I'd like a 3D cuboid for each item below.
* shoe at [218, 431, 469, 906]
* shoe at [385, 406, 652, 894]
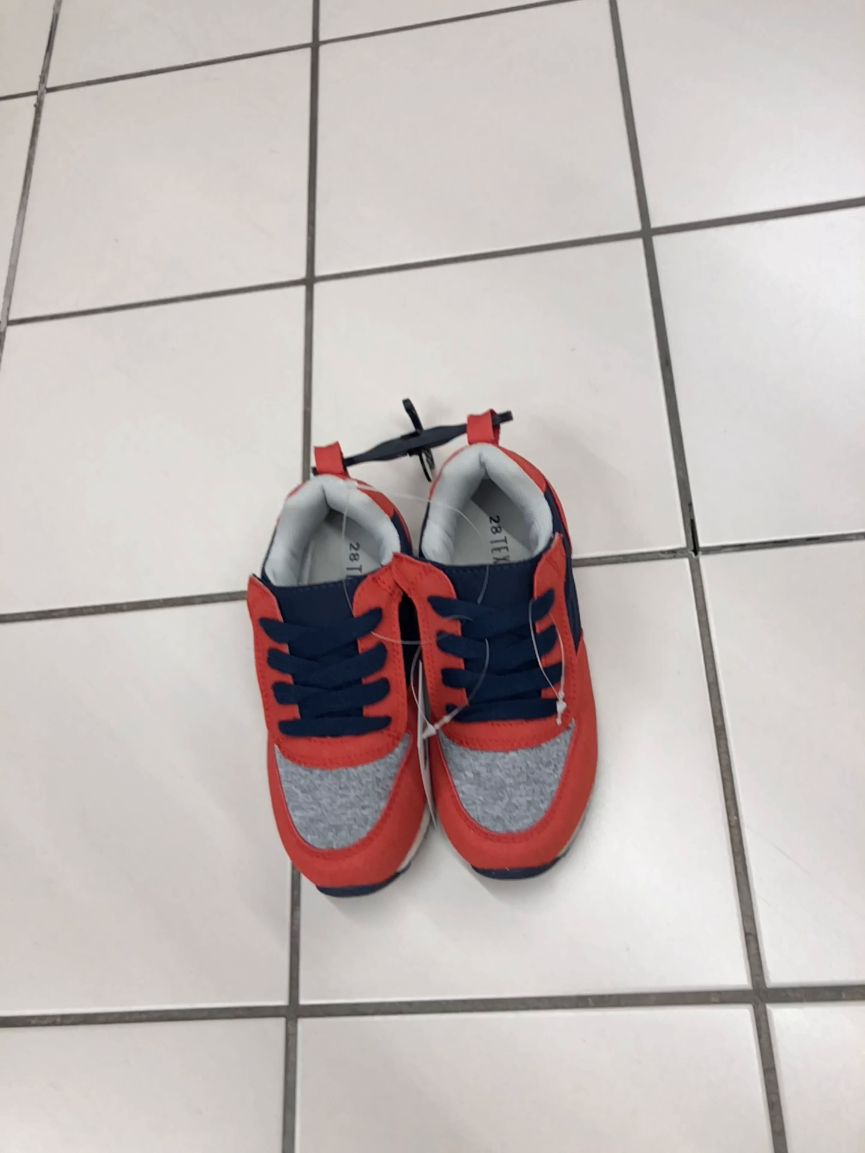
[{"bbox_3d":[-0.041,0.043,0.430,0.082,0.083,0.187,-9,67,6],"label":"shoe"},{"bbox_3d":[0.035,0.034,0.421,0.082,0.083,0.189,-9,67,6],"label":"shoe"}]
